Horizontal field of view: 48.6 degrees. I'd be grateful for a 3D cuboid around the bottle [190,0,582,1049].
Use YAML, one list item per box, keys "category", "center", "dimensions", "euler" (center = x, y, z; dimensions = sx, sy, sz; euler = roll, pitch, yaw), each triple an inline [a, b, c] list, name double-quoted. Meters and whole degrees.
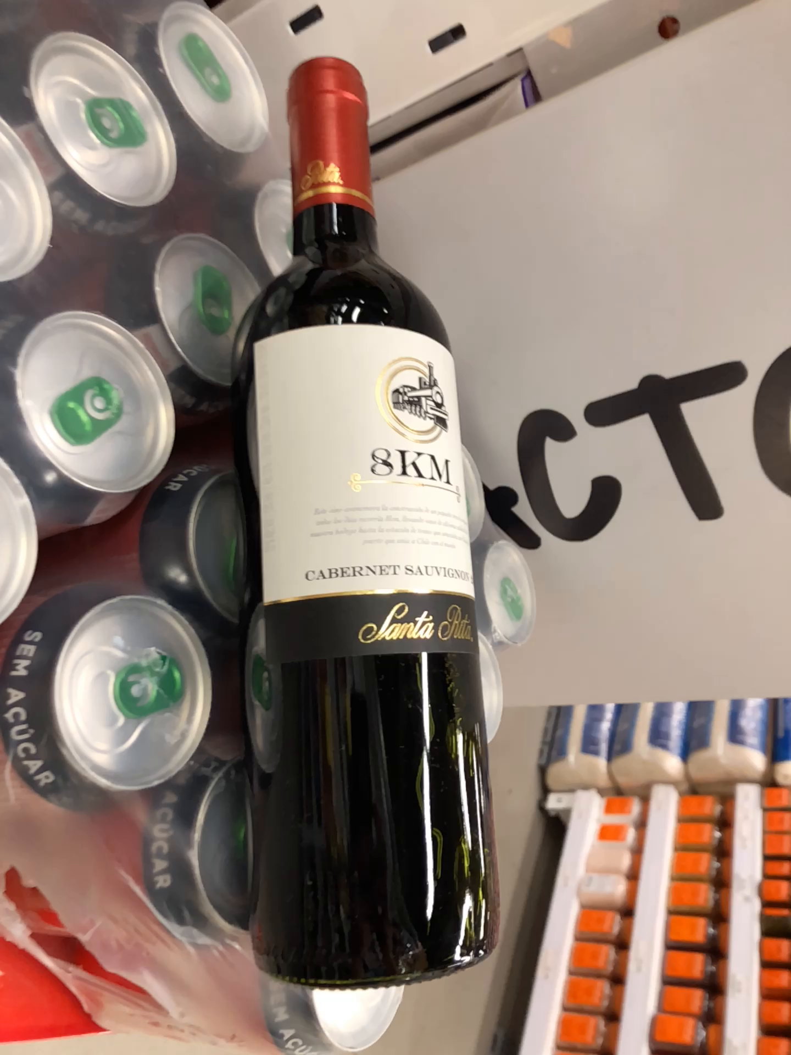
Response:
- category: "bottle"
  center: [-0.008, -0.028, 0.281]
  dimensions: [0.081, 0.070, 0.320]
  euler: [14, 68, -55]
